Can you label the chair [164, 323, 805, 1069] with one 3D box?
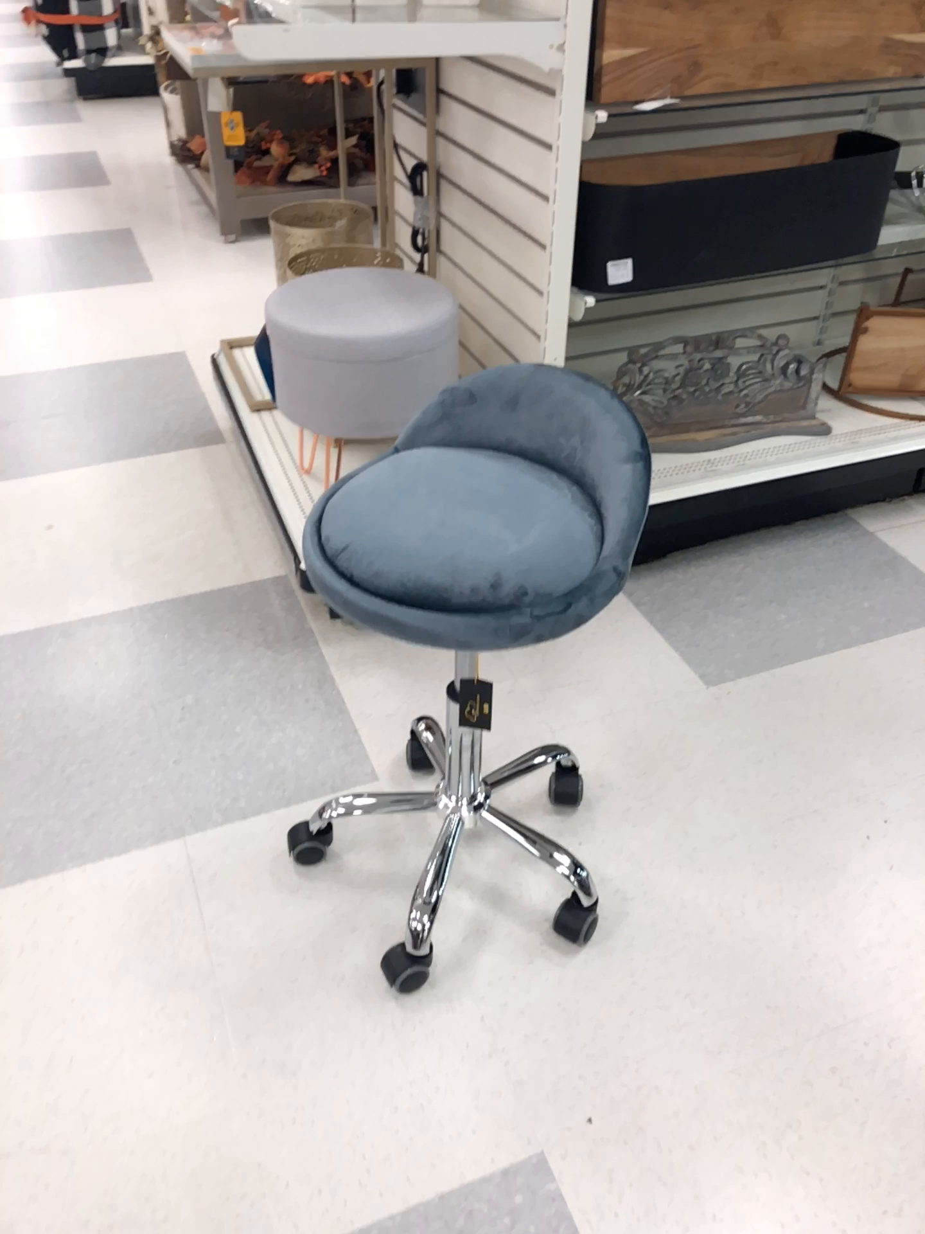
[{"bbox_3d":[0.017,0.068,1.258,0.484,0.630,0.475,-27,45,-32],"label":"chair"}]
